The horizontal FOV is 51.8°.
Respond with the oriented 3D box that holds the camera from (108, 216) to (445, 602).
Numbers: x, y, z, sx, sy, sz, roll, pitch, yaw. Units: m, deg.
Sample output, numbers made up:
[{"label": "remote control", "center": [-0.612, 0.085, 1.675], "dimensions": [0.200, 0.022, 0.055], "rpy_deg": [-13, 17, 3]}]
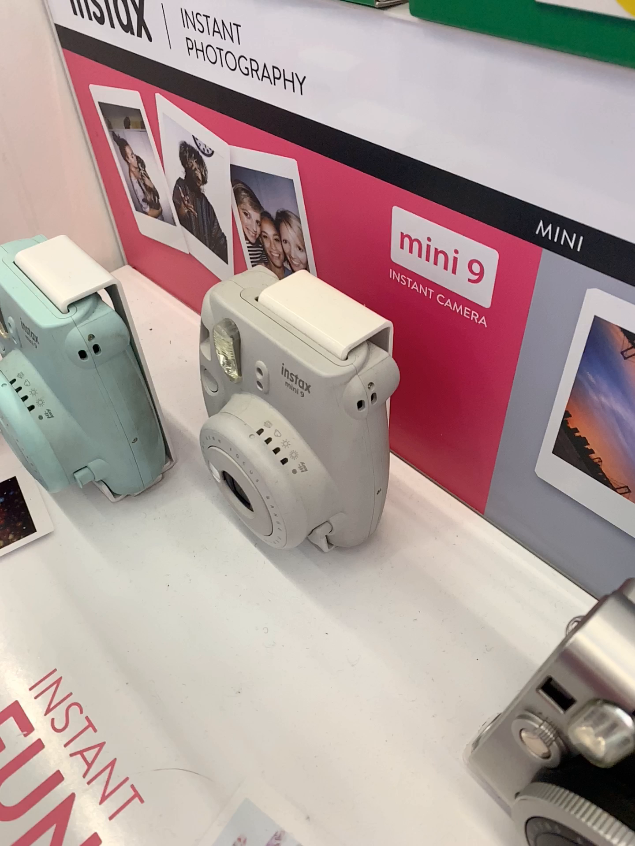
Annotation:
[{"label": "camera", "center": [-0.016, -0.009, 0.293], "dimensions": [0.080, 0.109, 0.111], "rpy_deg": [-34, 53, -25]}]
